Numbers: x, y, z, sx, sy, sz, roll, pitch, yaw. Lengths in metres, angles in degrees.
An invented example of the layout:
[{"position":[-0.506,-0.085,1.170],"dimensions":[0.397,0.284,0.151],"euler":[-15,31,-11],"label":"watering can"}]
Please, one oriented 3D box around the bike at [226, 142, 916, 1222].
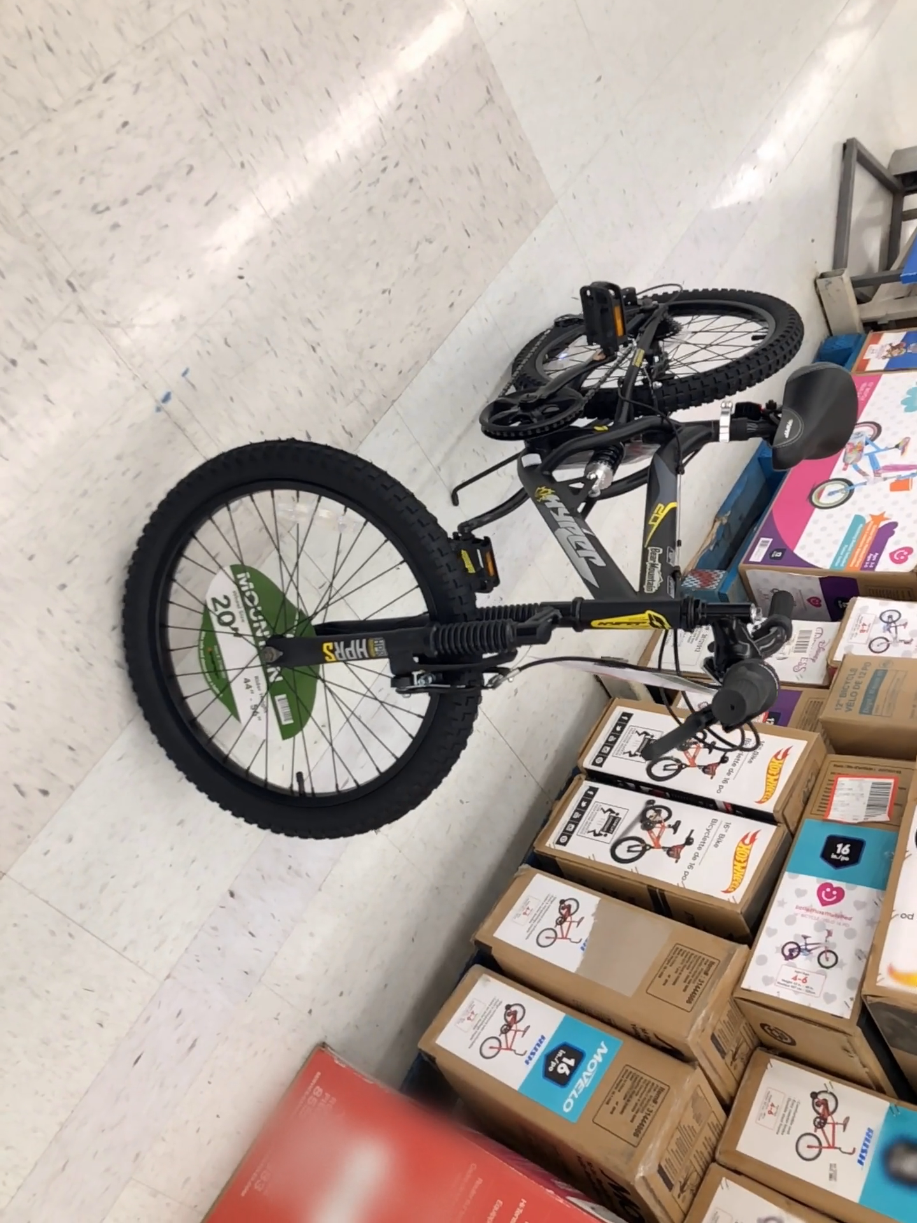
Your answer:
[{"position":[0.371,-0.031,1.493],"dimensions":[1.261,0.849,0.524],"euler":[-53,129,-33],"label":"bike"}]
